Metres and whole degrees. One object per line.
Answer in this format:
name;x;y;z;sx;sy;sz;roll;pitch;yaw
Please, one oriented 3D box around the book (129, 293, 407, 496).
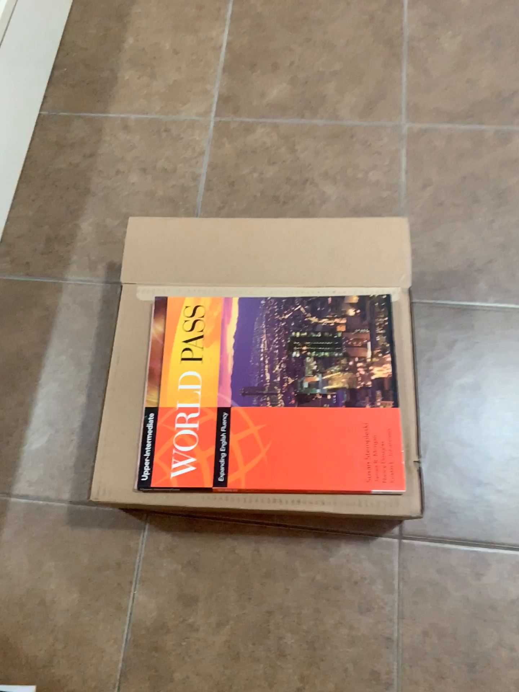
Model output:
book;0.008;0.045;0.558;0.270;0.018;0.211;0;70;4
